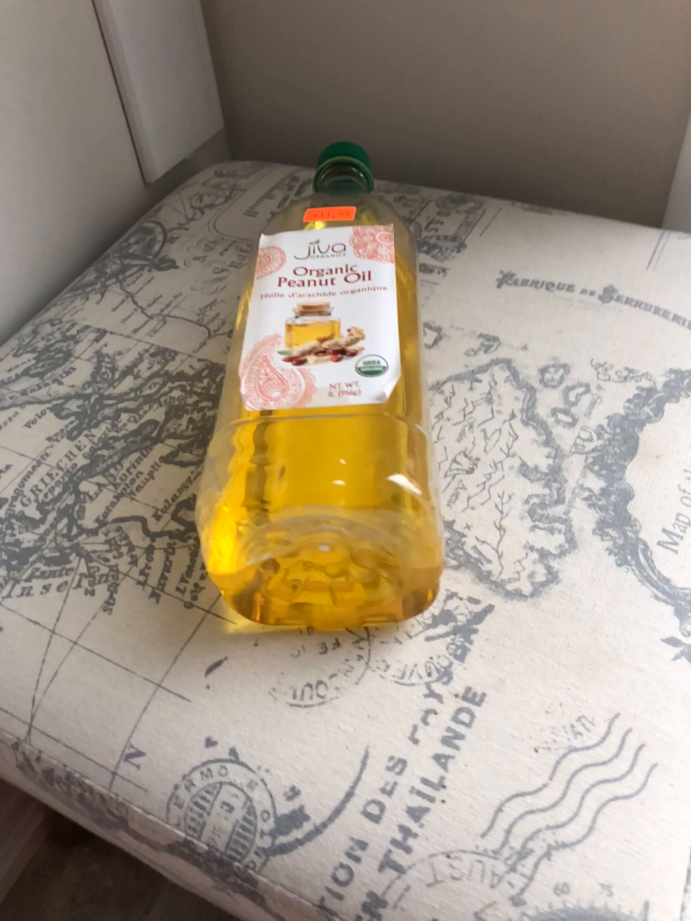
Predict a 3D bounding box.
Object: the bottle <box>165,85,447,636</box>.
[{"bbox_3d":[-0.006,-0.065,0.332,0.080,0.070,0.271,-2,49,4],"label":"bottle"}]
